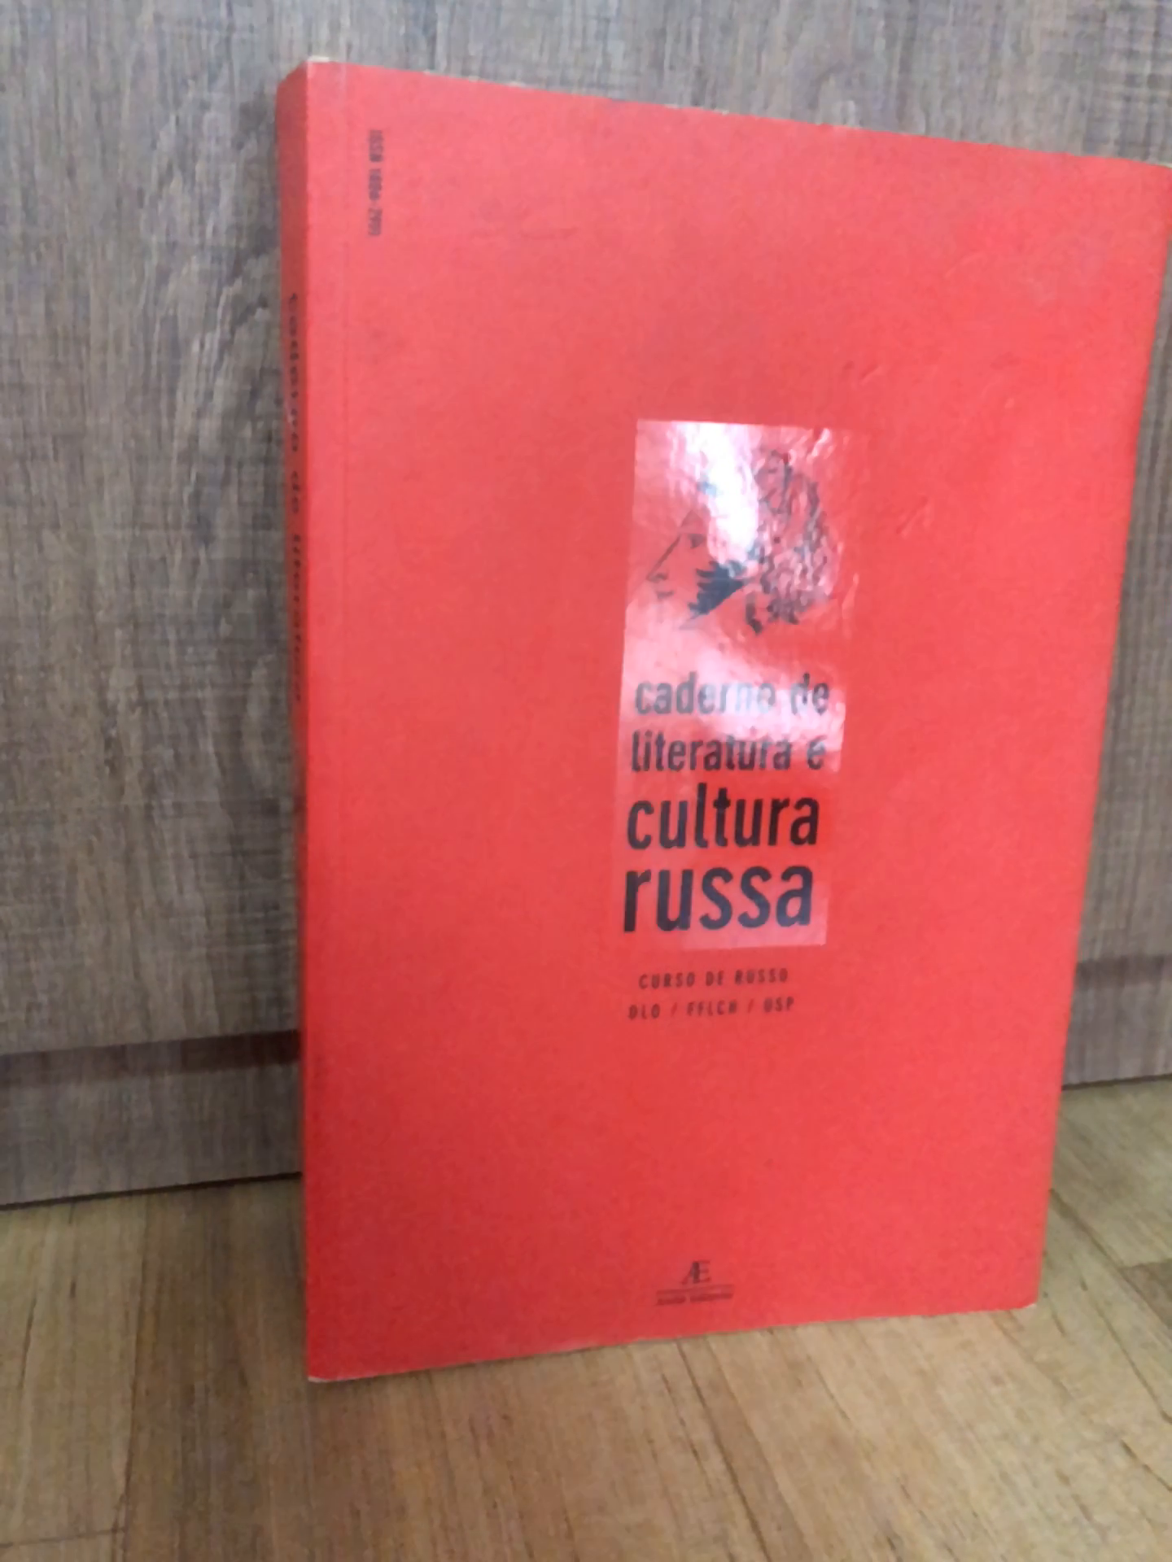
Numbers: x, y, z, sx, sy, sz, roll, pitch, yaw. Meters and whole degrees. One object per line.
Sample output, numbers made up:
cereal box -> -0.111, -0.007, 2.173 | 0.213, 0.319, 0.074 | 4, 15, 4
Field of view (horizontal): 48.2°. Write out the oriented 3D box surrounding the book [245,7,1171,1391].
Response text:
book -> 0.030, -0.006, 0.271 | 0.187, 0.249, 0.040 | -1, 14, -12
